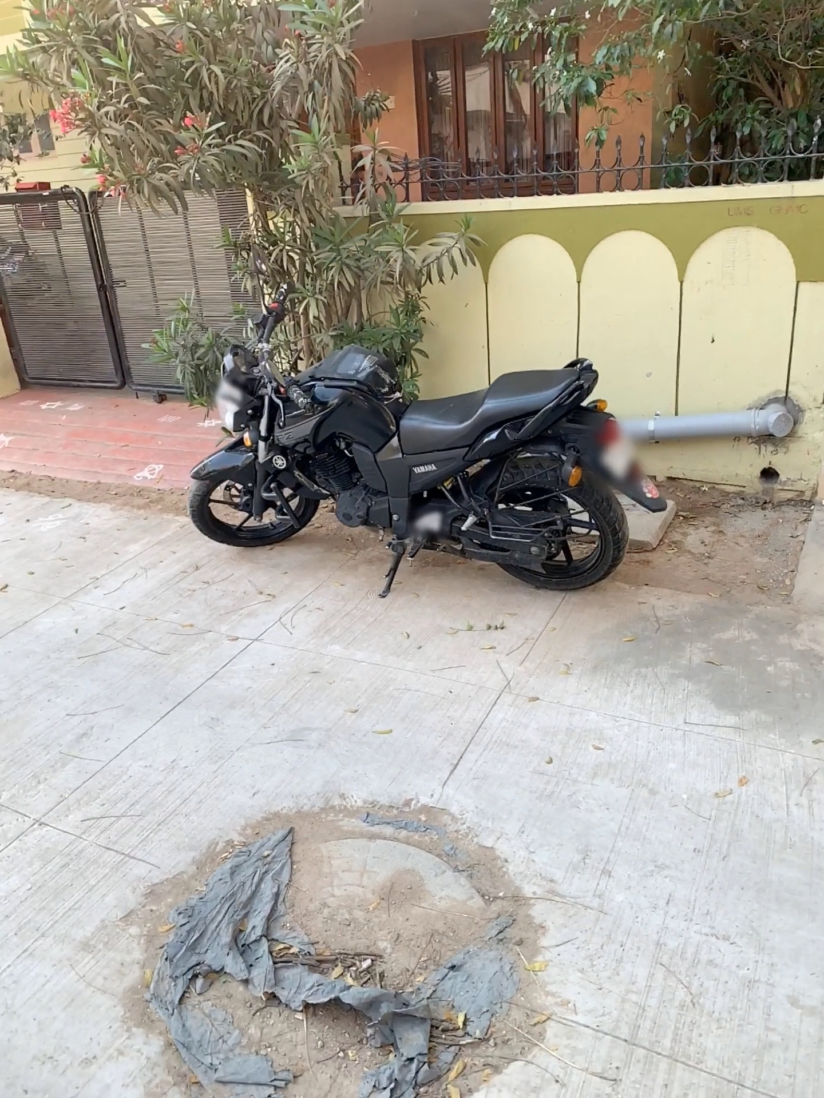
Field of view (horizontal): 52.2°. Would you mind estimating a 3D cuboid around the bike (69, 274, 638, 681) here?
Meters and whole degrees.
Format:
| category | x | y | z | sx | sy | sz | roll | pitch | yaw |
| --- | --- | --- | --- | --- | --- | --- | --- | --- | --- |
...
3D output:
| category | x | y | z | sx | sy | sz | roll | pitch | yaw |
| --- | --- | --- | --- | --- | --- | --- | --- | --- | --- |
| bike | -0.176 | -0.250 | 2.969 | 1.684 | 1.076 | 0.748 | 2 | 24 | 26 |
